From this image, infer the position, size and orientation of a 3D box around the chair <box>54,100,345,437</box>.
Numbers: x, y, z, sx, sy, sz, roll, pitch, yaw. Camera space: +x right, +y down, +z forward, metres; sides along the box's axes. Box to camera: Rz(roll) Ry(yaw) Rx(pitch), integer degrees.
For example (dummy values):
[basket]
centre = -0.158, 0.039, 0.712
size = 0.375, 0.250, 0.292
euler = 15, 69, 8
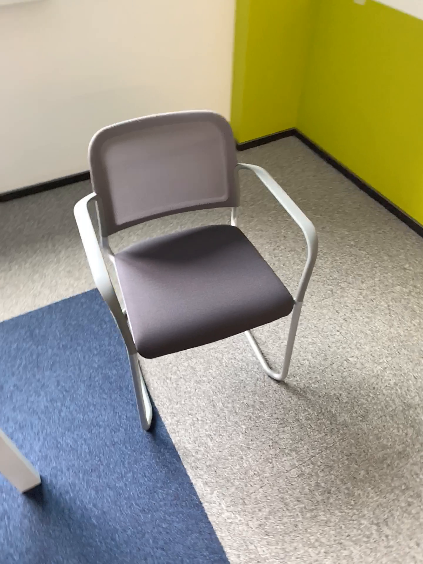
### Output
[chair]
centre = -0.070, -0.025, 1.263
size = 0.531, 0.726, 0.522
euler = -14, 49, -14
